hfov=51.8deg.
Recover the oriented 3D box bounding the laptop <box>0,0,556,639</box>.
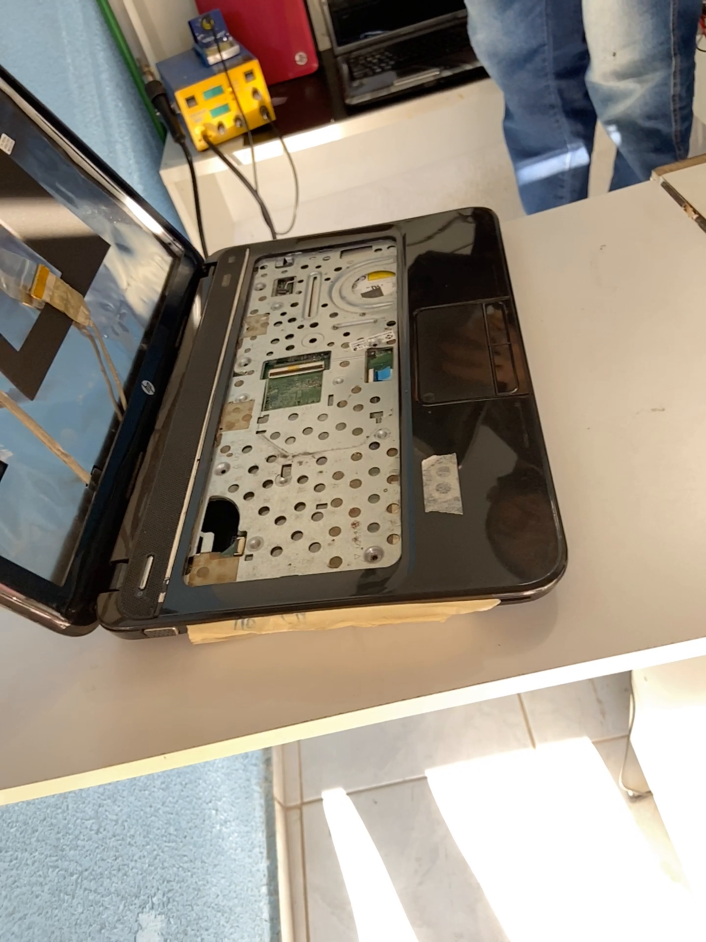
[{"bbox_3d":[-0.090,-0.120,0.392,0.324,0.186,0.337,-8,46,11],"label":"laptop"}]
